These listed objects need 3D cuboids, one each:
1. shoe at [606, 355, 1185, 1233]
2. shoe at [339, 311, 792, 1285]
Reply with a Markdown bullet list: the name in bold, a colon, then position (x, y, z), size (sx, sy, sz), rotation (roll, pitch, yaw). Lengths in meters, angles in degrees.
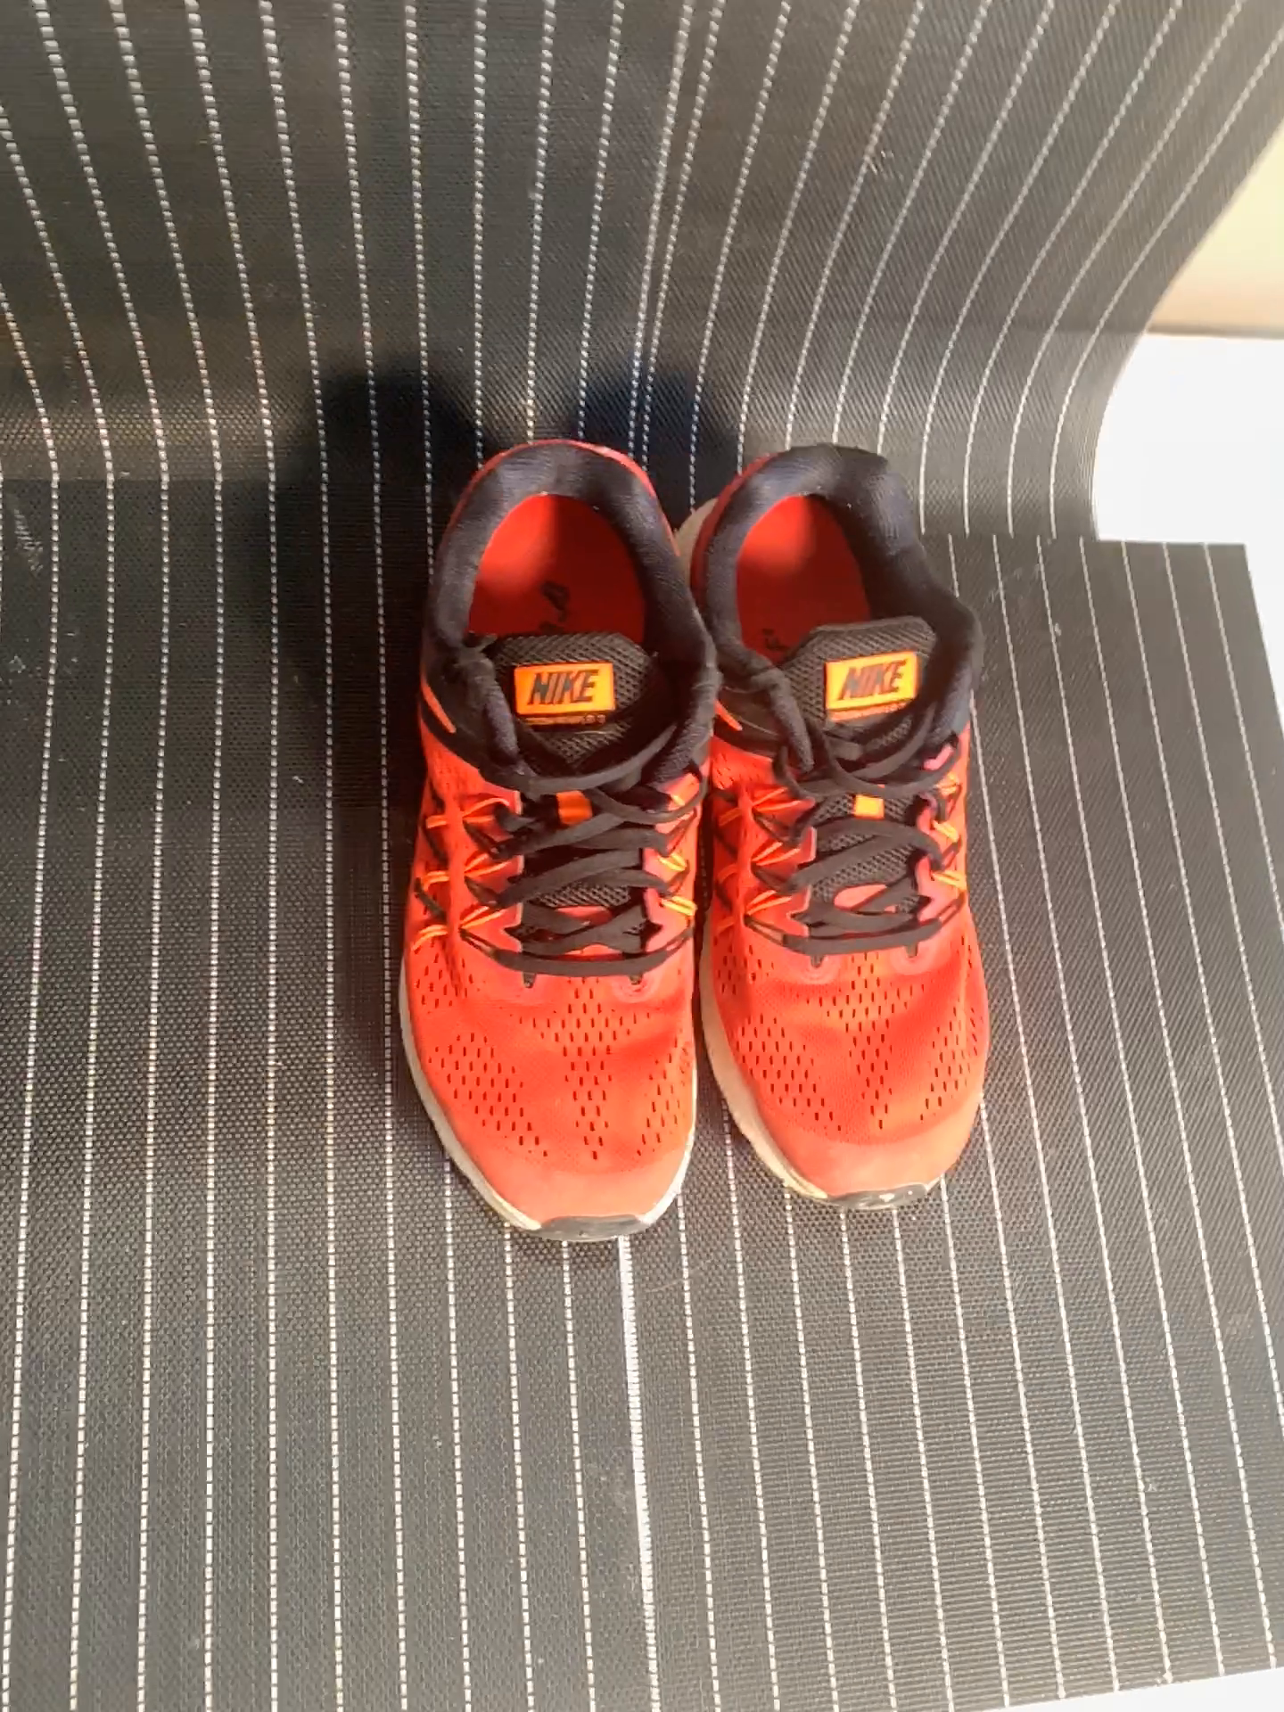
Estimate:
- **shoe**: position (0.071, -0.019, 0.451), size (0.120, 0.110, 0.270), rotation (-5, 76, -11)
- **shoe**: position (-0.036, -0.018, 0.449), size (0.120, 0.110, 0.300), rotation (-2, 75, -10)
